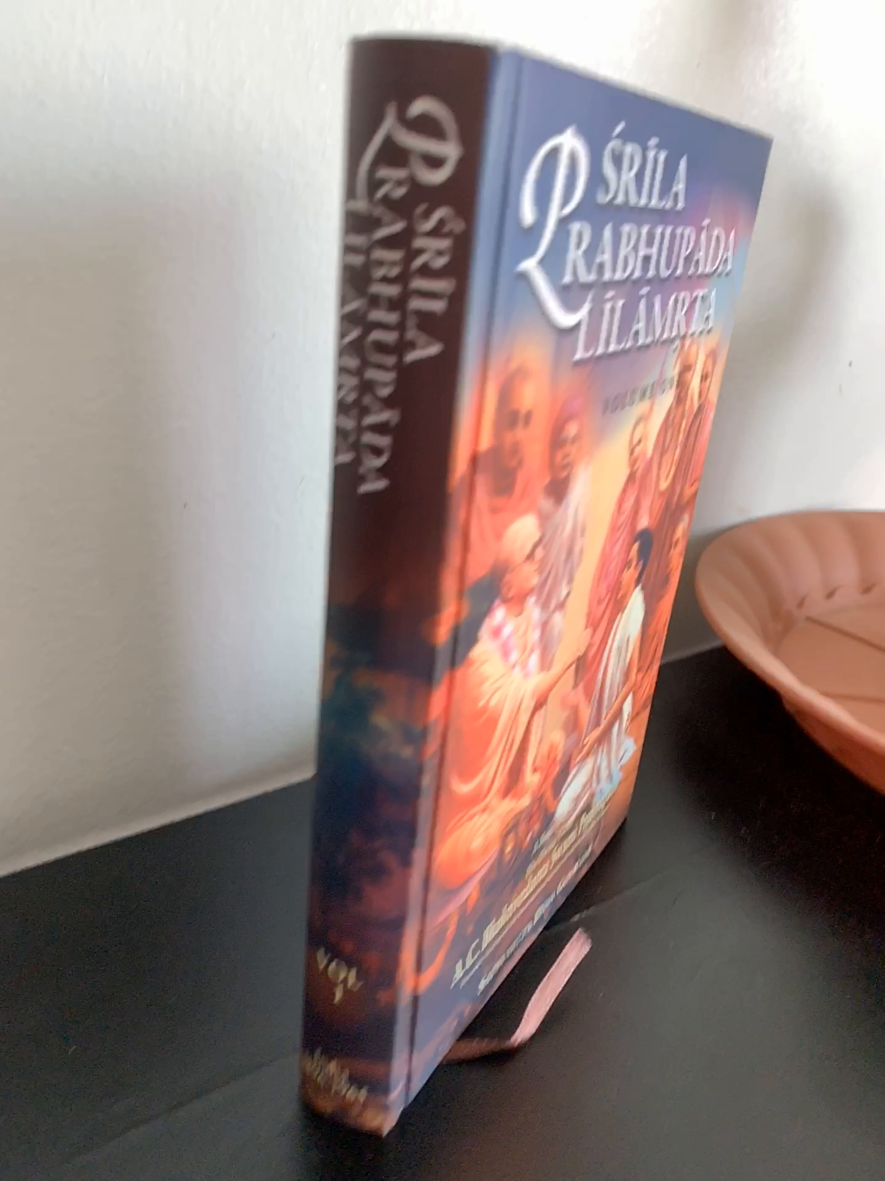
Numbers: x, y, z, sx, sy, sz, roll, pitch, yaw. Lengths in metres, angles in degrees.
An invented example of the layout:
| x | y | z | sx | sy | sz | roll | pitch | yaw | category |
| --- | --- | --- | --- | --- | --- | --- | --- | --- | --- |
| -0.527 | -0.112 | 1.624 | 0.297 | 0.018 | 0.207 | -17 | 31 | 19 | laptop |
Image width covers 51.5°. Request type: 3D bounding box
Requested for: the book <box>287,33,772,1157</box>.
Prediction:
| x | y | z | sx | sy | sz | roll | pitch | yaw | category |
| --- | --- | --- | --- | --- | --- | --- | --- | --- | --- |
| 0.027 | 0.000 | 0.246 | 0.030 | 0.233 | 0.162 | 18 | 26 | 28 | book |
